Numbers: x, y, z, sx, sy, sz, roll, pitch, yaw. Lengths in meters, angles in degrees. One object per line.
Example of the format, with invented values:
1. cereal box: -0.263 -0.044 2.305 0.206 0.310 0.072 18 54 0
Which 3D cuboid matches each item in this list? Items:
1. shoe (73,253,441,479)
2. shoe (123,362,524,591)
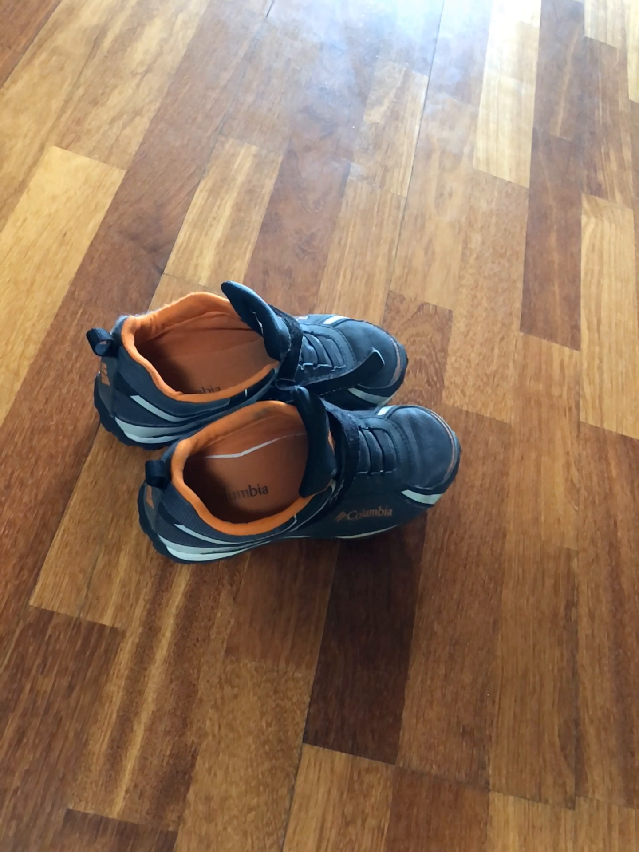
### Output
1. shoe: -0.056 -0.049 0.563 0.252 0.126 0.112 -6 65 -19
2. shoe: -0.004 0.033 0.493 0.247 0.102 0.097 -6 65 -19
